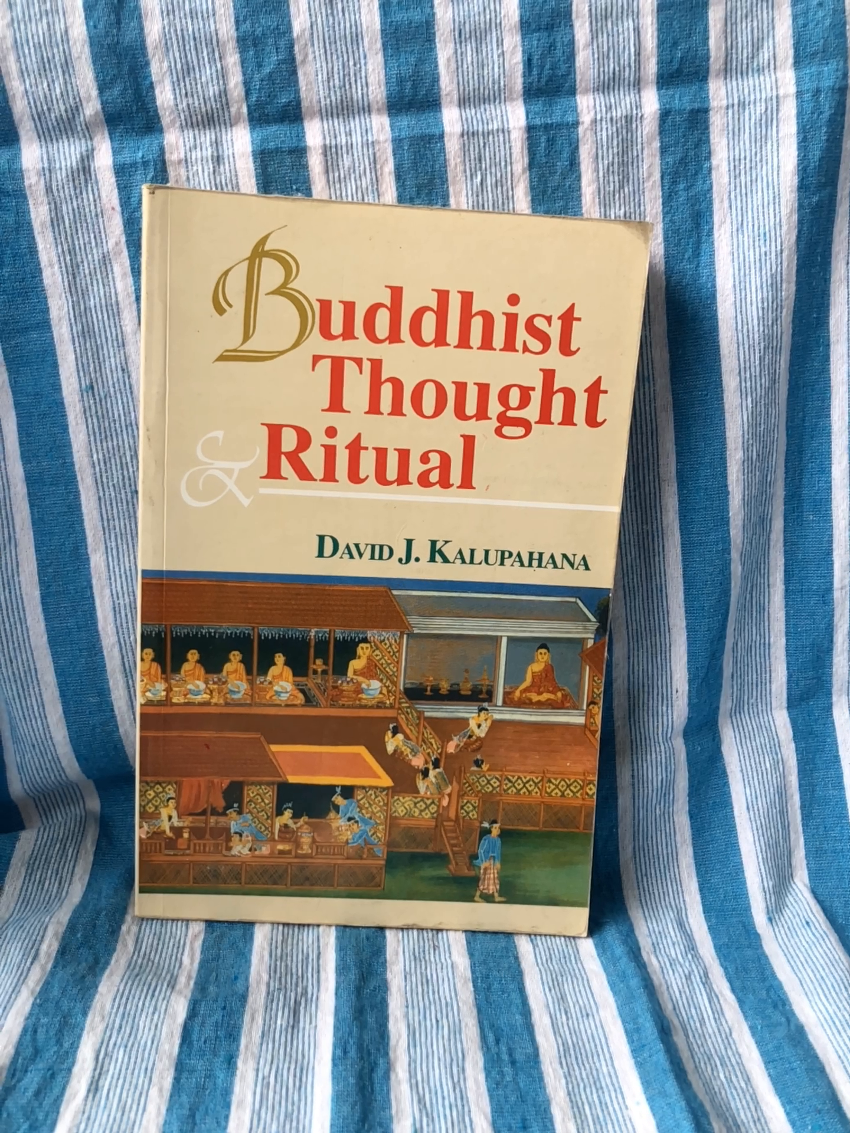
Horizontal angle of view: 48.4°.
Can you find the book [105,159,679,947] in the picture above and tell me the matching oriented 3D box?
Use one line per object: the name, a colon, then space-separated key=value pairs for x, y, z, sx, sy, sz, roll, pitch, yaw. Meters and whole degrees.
book: x=-0.015 y=0.005 z=0.278 sx=0.150 sy=0.219 sz=0.020 roll=3 pitch=11 yaw=-4
